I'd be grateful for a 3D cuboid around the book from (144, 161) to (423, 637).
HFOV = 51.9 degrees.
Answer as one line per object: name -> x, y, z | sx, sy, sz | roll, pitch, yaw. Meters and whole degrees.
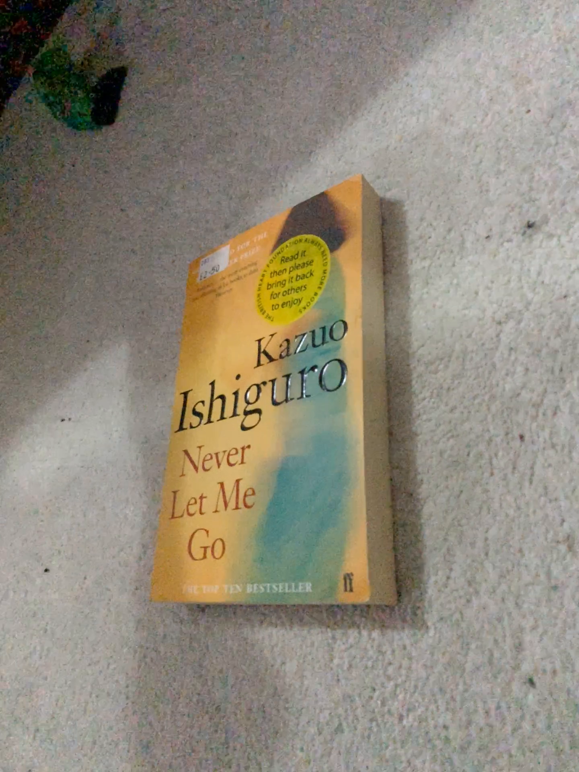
book -> -0.008, 0.008, 0.296 | 0.141, 0.020, 0.211 | -16, 61, 37
